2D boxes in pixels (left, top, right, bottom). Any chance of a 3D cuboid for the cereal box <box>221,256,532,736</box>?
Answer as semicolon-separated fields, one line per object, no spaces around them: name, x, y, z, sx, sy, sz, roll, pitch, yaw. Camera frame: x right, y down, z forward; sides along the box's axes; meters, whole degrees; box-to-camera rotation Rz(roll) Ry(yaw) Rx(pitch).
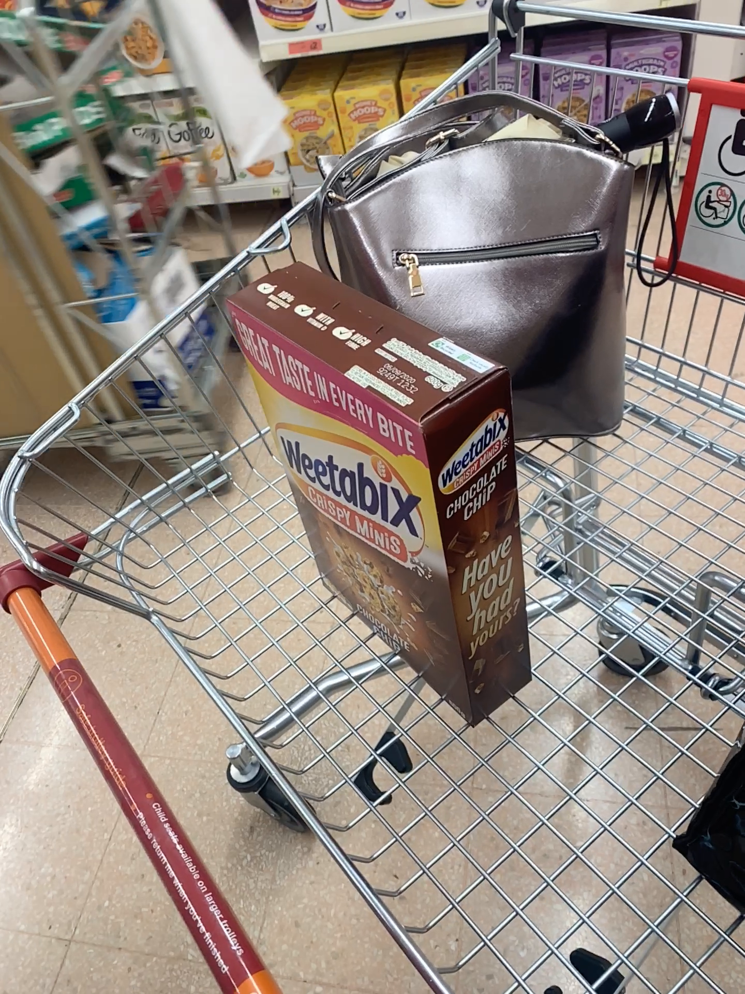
cereal box;0.013;0.008;0.504;0.060;0.277;0.191;-35;48;-21
